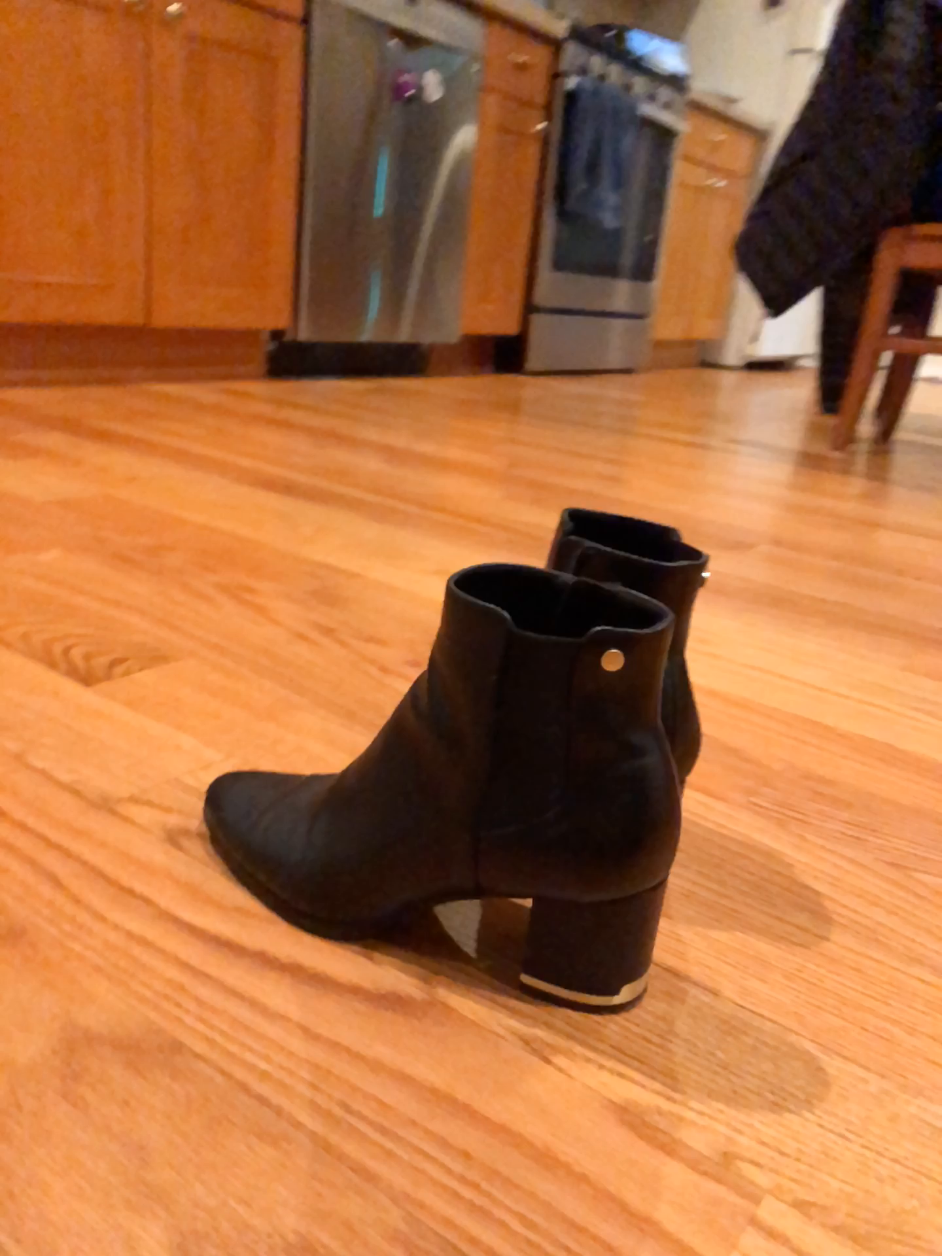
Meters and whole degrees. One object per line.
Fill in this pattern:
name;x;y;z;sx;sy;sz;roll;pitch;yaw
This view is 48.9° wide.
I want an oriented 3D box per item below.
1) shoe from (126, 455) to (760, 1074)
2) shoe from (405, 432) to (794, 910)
shoe;-0.023;0.038;0.436;0.236;0.175;0.095;15;20;26
shoe;0.048;0.004;0.559;0.095;0.175;0.237;-1;19;-19
